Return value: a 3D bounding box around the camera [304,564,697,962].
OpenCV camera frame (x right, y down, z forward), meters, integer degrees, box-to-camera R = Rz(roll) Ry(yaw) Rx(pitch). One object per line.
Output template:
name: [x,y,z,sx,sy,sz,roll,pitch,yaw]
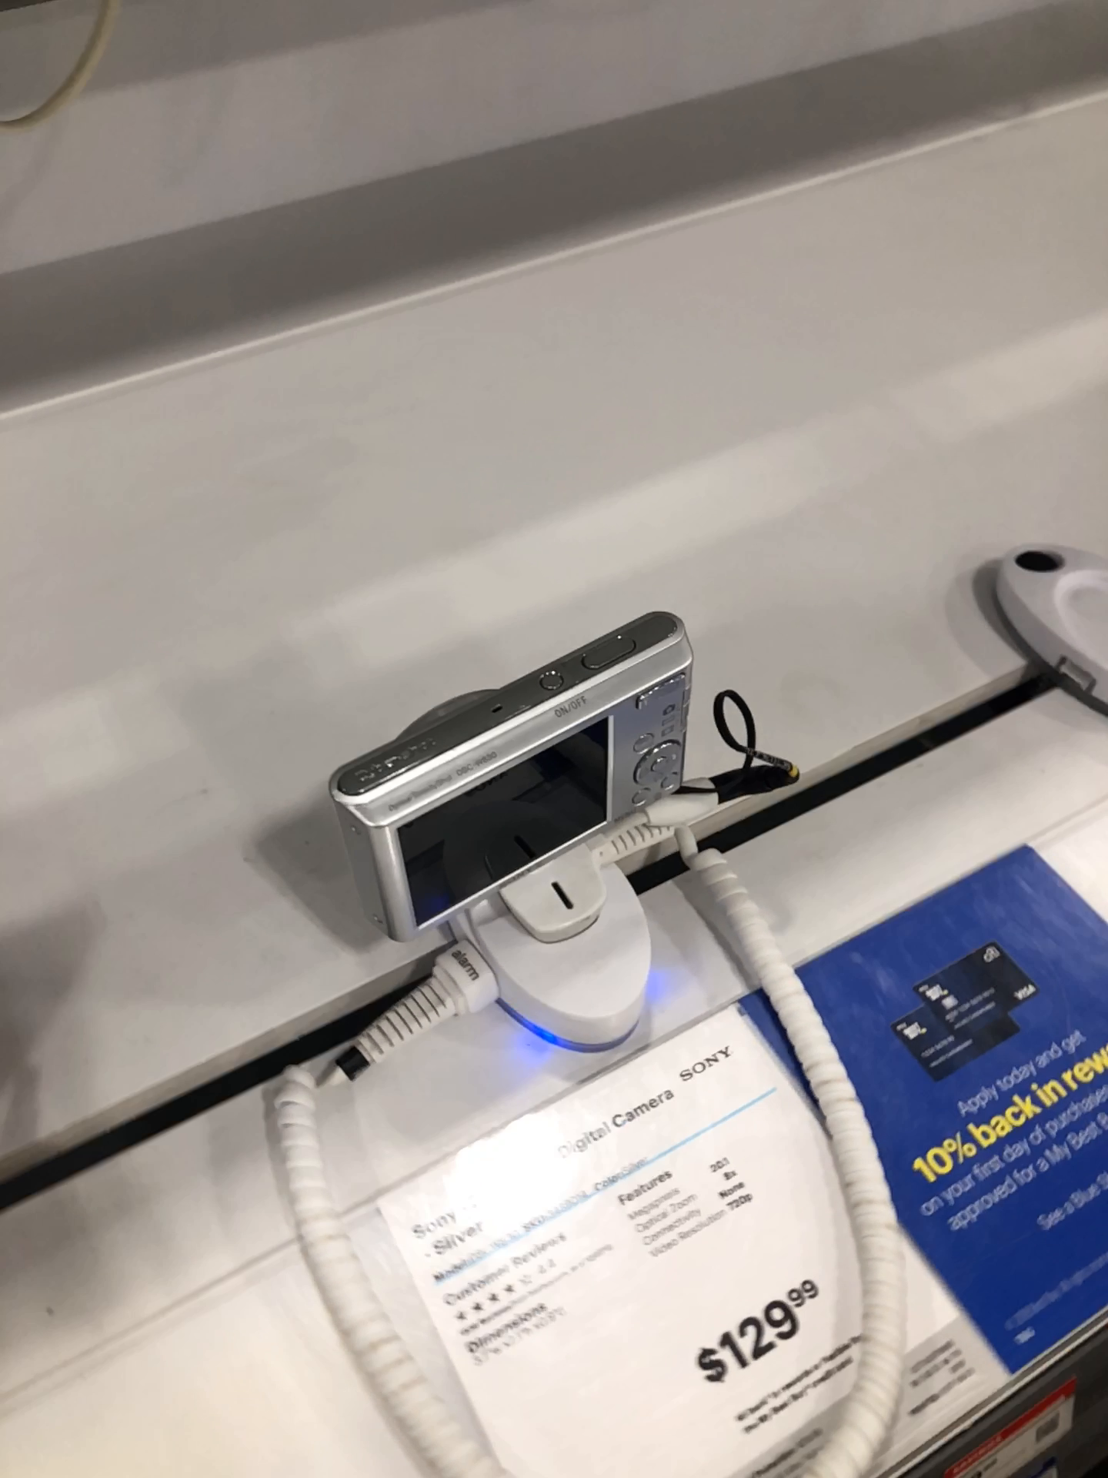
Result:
camera: [-0.010,0.007,0.299,0.090,0.070,0.020,-27,53,-21]
